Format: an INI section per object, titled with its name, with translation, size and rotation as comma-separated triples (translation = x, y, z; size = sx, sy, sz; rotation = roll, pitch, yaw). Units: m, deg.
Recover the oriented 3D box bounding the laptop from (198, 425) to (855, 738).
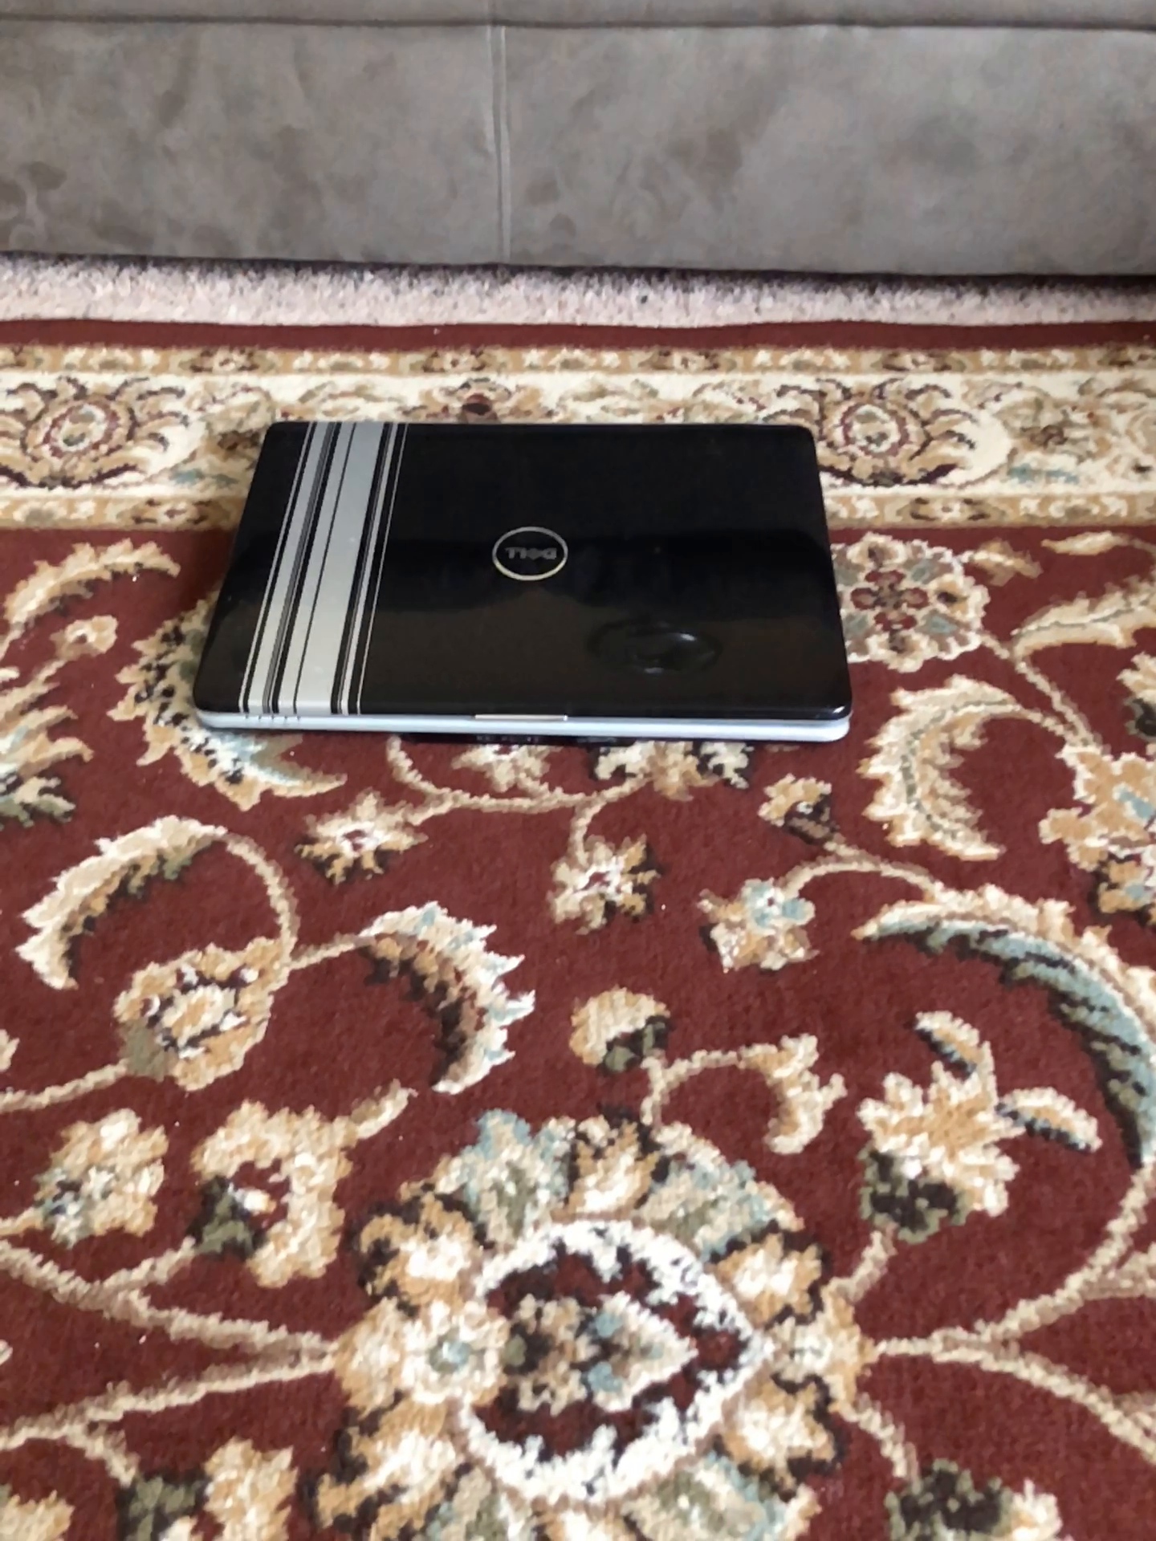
[laptop]
translation = -0.025, -0.122, 0.756
size = 0.351, 0.015, 0.242
rotation = 1, 52, 1
